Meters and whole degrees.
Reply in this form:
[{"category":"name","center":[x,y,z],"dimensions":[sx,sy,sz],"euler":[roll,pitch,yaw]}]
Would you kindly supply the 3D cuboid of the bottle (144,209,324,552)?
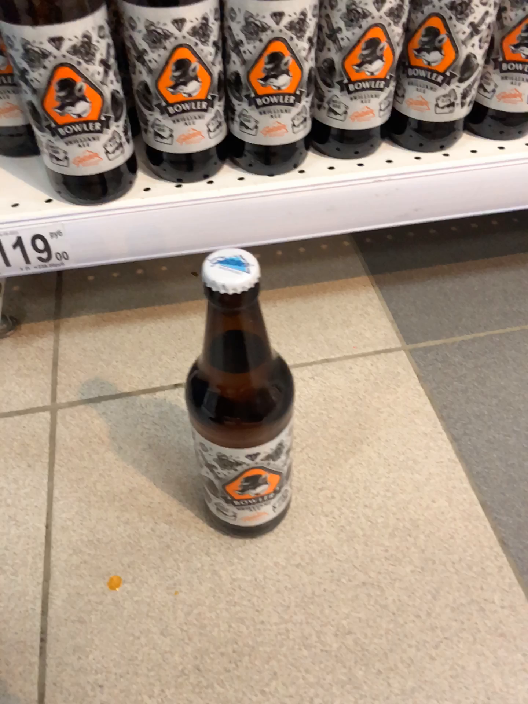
[{"category":"bottle","center":[-0.015,0.036,0.370],"dimensions":[0.074,0.239,0.070],"euler":[-1,48,1]}]
